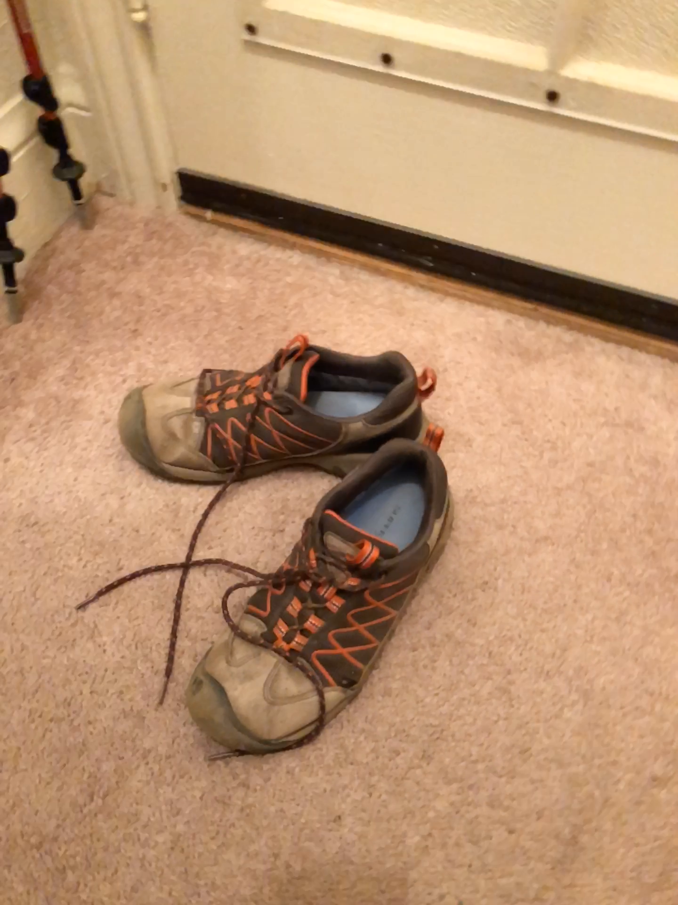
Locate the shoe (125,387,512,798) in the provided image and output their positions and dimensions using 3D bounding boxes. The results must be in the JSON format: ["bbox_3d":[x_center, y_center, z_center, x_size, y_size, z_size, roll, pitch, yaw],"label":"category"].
[{"bbox_3d":[-0.006,0.101,0.575,0.120,0.130,0.271,36,63,21],"label":"shoe"}]

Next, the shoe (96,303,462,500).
[{"bbox_3d":[-0.051,-0.046,0.699,0.300,0.130,0.120,-2,57,-2],"label":"shoe"}]
